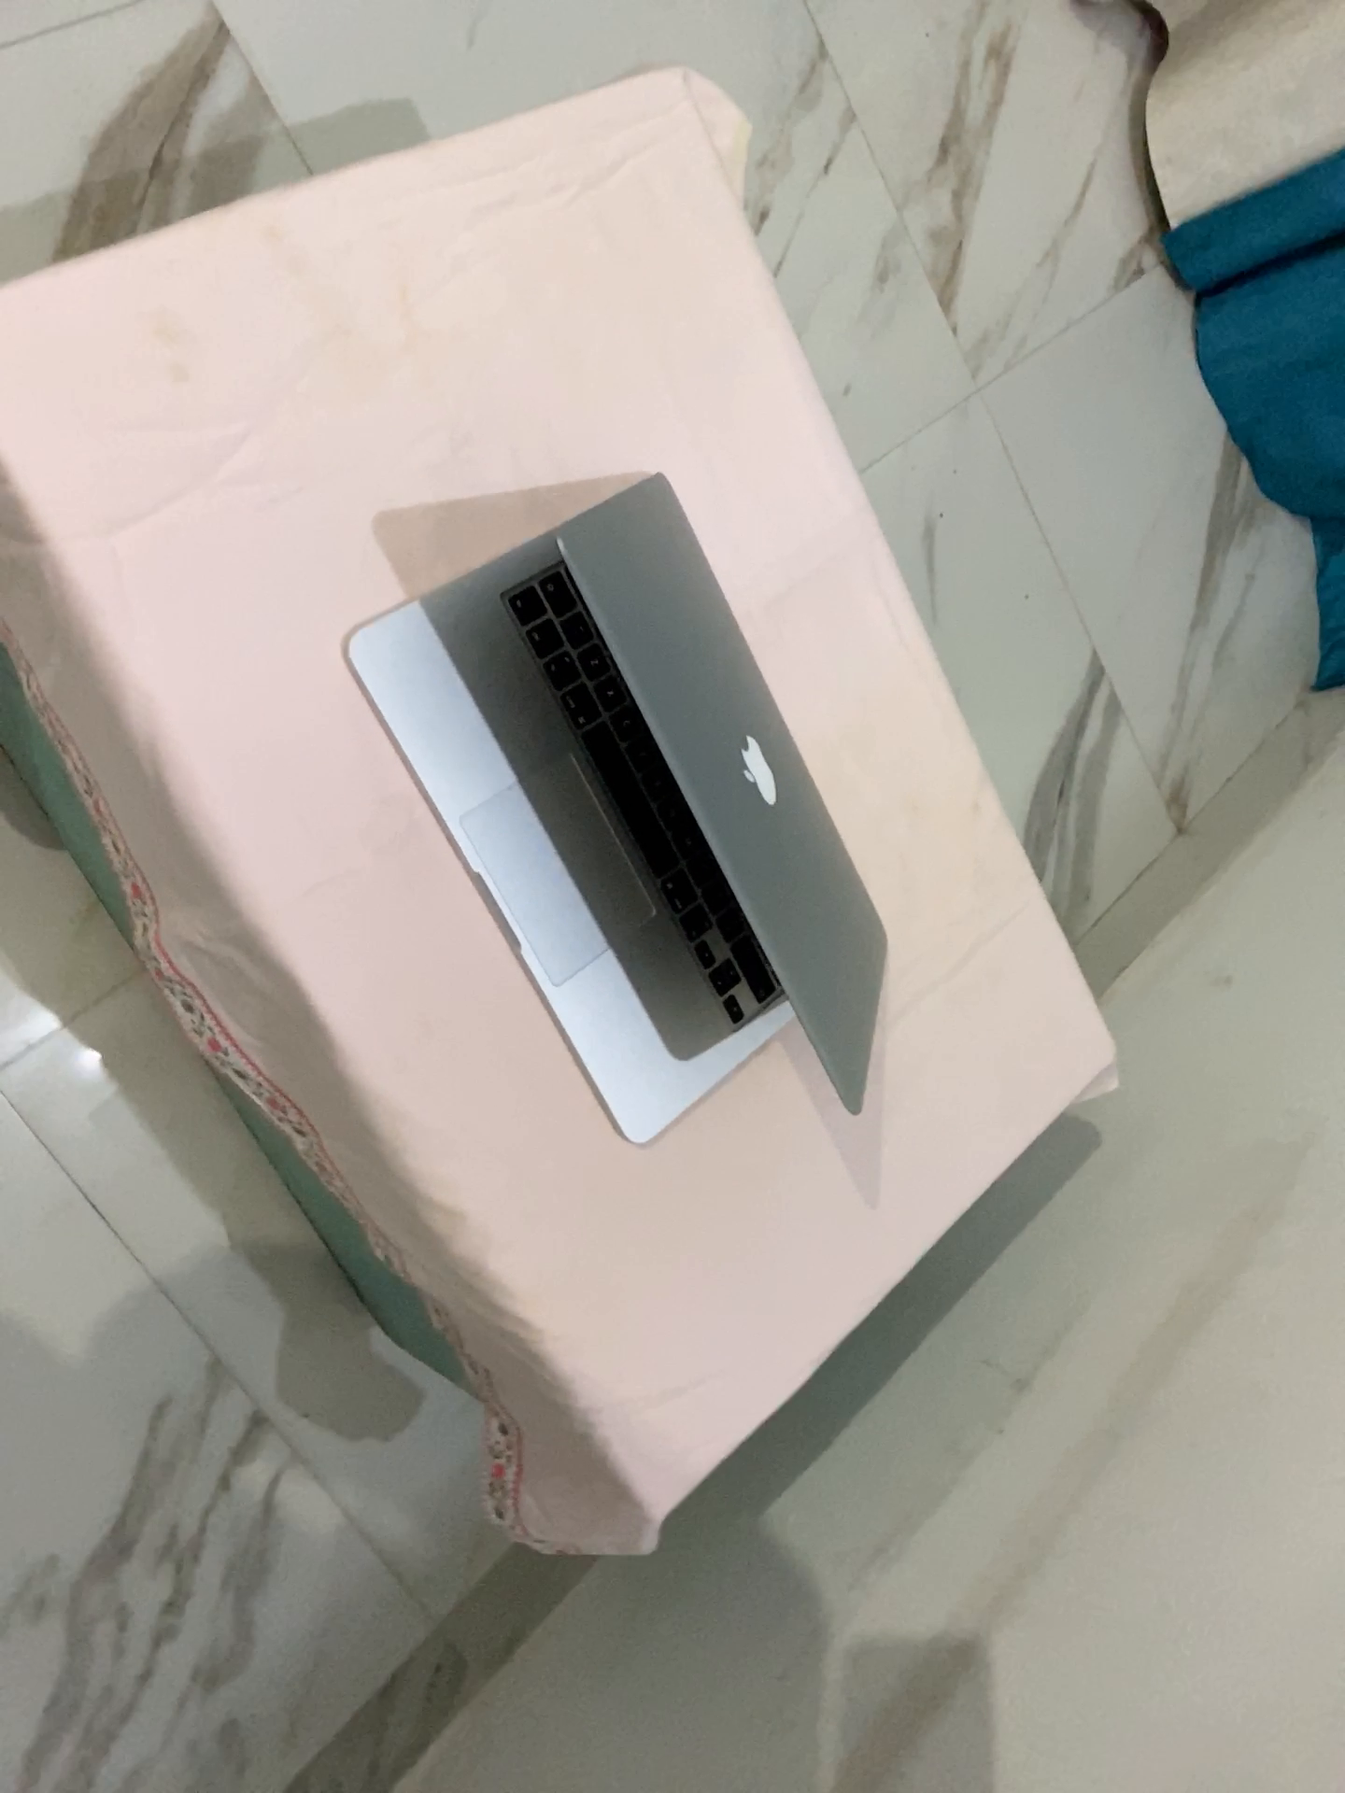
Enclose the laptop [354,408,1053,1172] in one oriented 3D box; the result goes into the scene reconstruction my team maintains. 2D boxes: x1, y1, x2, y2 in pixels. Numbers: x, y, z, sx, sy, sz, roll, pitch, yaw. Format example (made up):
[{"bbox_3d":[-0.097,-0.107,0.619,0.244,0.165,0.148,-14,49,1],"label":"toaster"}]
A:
[{"bbox_3d":[0.024,-0.050,0.699,0.209,0.138,0.296,-37,109,-27],"label":"laptop"}]
